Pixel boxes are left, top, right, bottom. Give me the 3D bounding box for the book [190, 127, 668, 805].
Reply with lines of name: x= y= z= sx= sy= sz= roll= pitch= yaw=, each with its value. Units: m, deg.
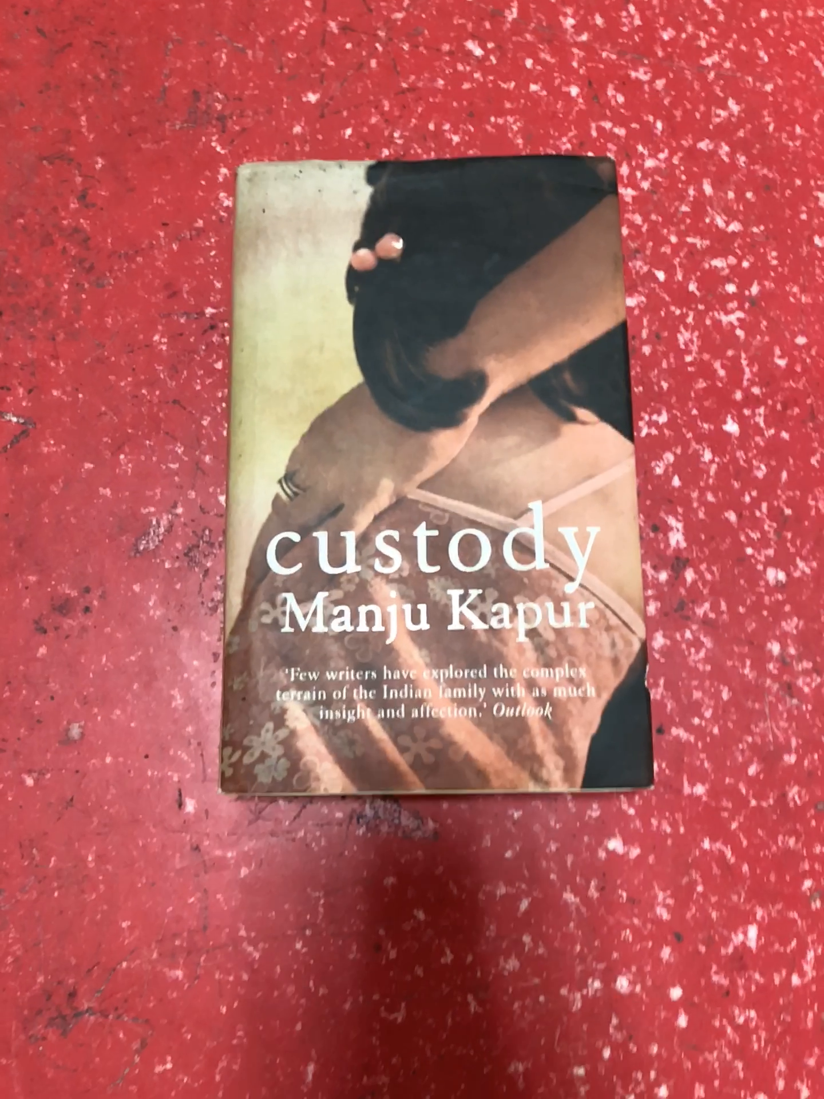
book: x=0.002 y=-0.030 z=0.313 sx=0.140 sy=0.040 sz=0.220 roll=-2 pitch=78 yaw=1
